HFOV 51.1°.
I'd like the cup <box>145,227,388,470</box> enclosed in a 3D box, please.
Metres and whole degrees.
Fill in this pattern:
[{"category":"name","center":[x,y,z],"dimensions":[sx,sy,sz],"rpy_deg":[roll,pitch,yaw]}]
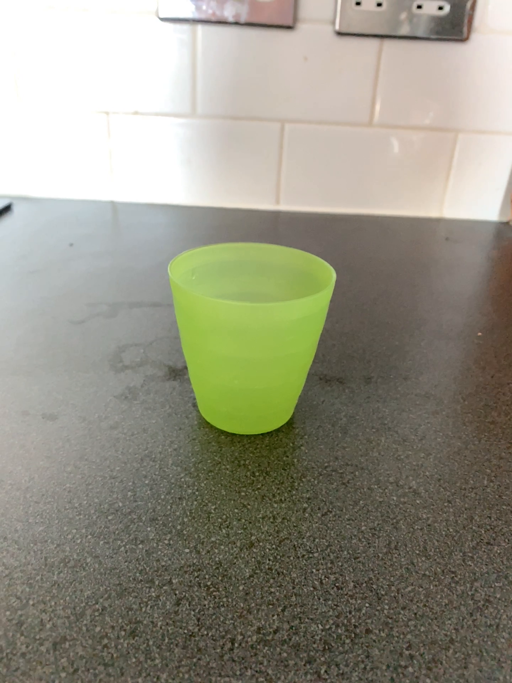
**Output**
[{"category":"cup","center":[0.001,-0.003,0.277],"dimensions":[0.090,0.080,0.078],"rpy_deg":[-15,35,-31]}]
